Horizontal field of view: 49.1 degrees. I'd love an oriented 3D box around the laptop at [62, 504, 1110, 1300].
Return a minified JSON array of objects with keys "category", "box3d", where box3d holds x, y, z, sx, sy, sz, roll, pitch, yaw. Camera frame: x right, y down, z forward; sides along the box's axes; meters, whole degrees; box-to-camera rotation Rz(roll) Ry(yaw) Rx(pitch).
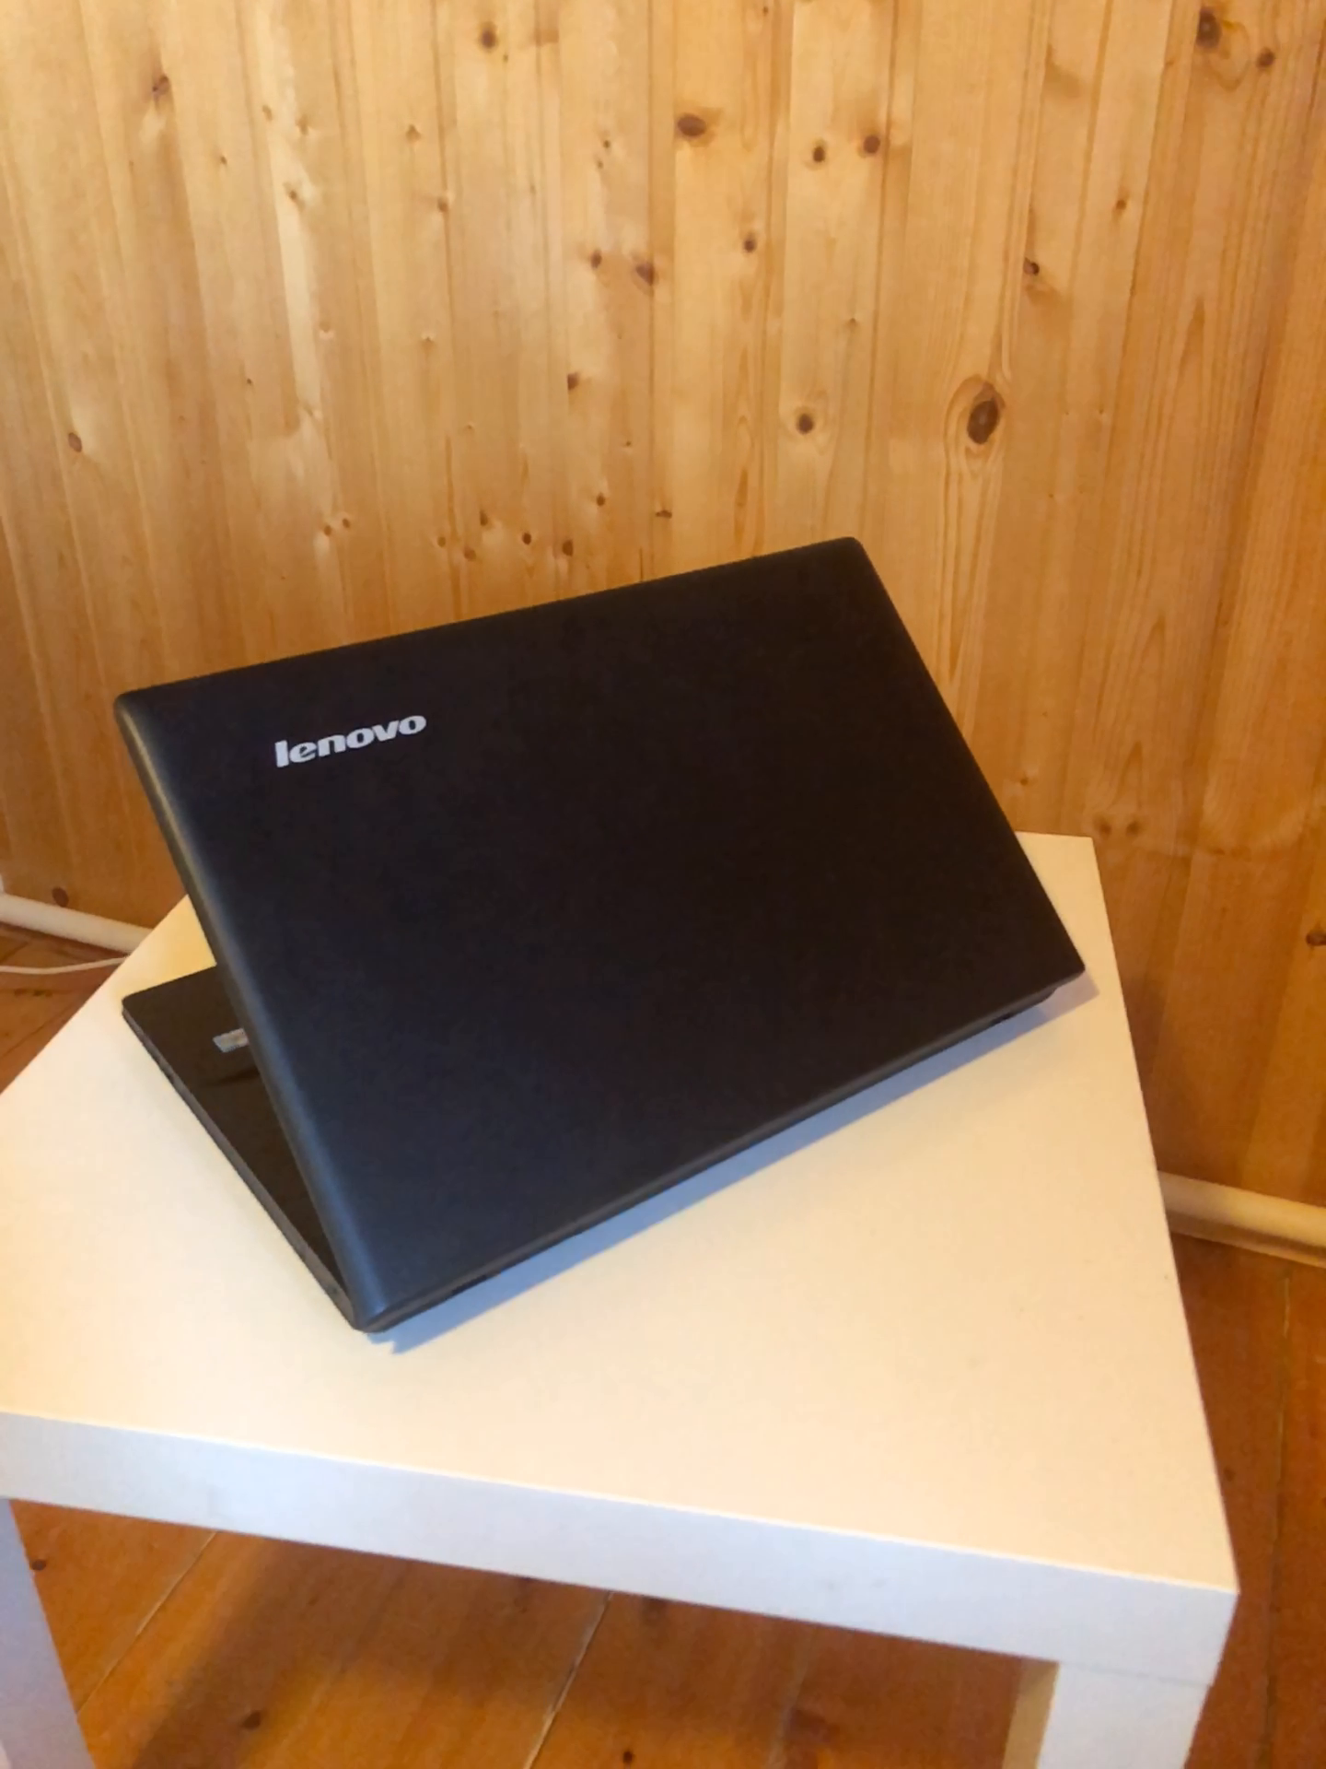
[{"category":"laptop","box3d":[-0.033,-0.033,0.690,0.389,0.179,0.261,-20,34,-31]}]
